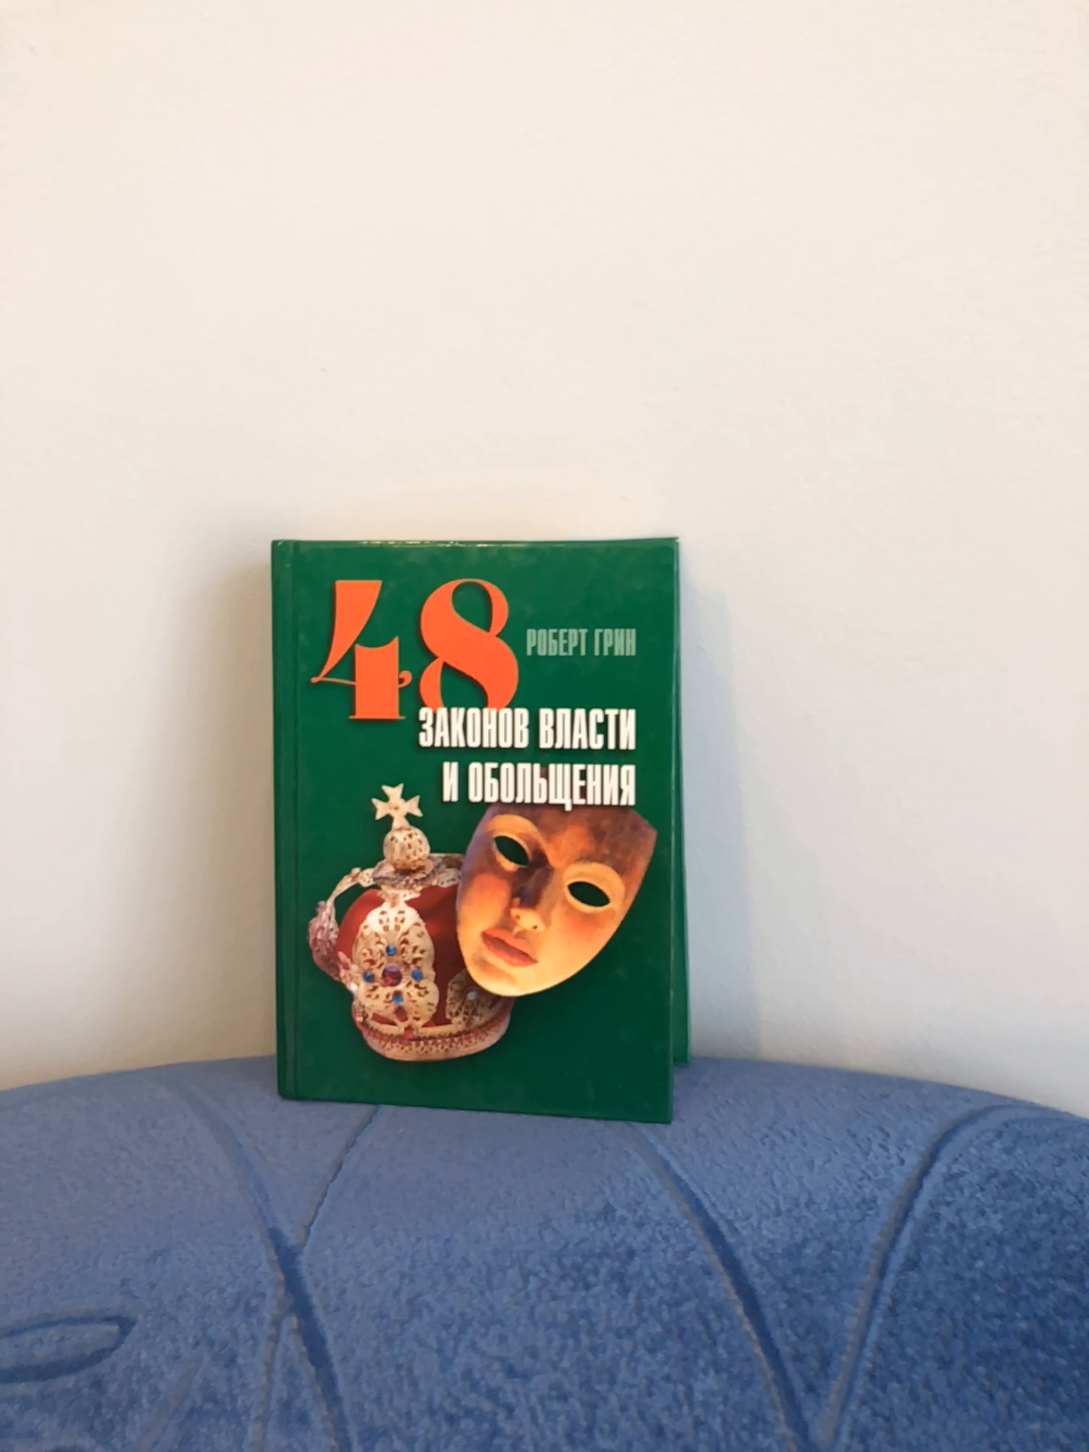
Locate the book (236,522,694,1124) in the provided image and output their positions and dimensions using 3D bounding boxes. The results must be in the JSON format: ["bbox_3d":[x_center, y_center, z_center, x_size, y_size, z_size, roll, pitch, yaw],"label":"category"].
[{"bbox_3d":[-0.018,0.022,0.319,0.106,0.141,0.050,-1,3,13],"label":"book"}]
